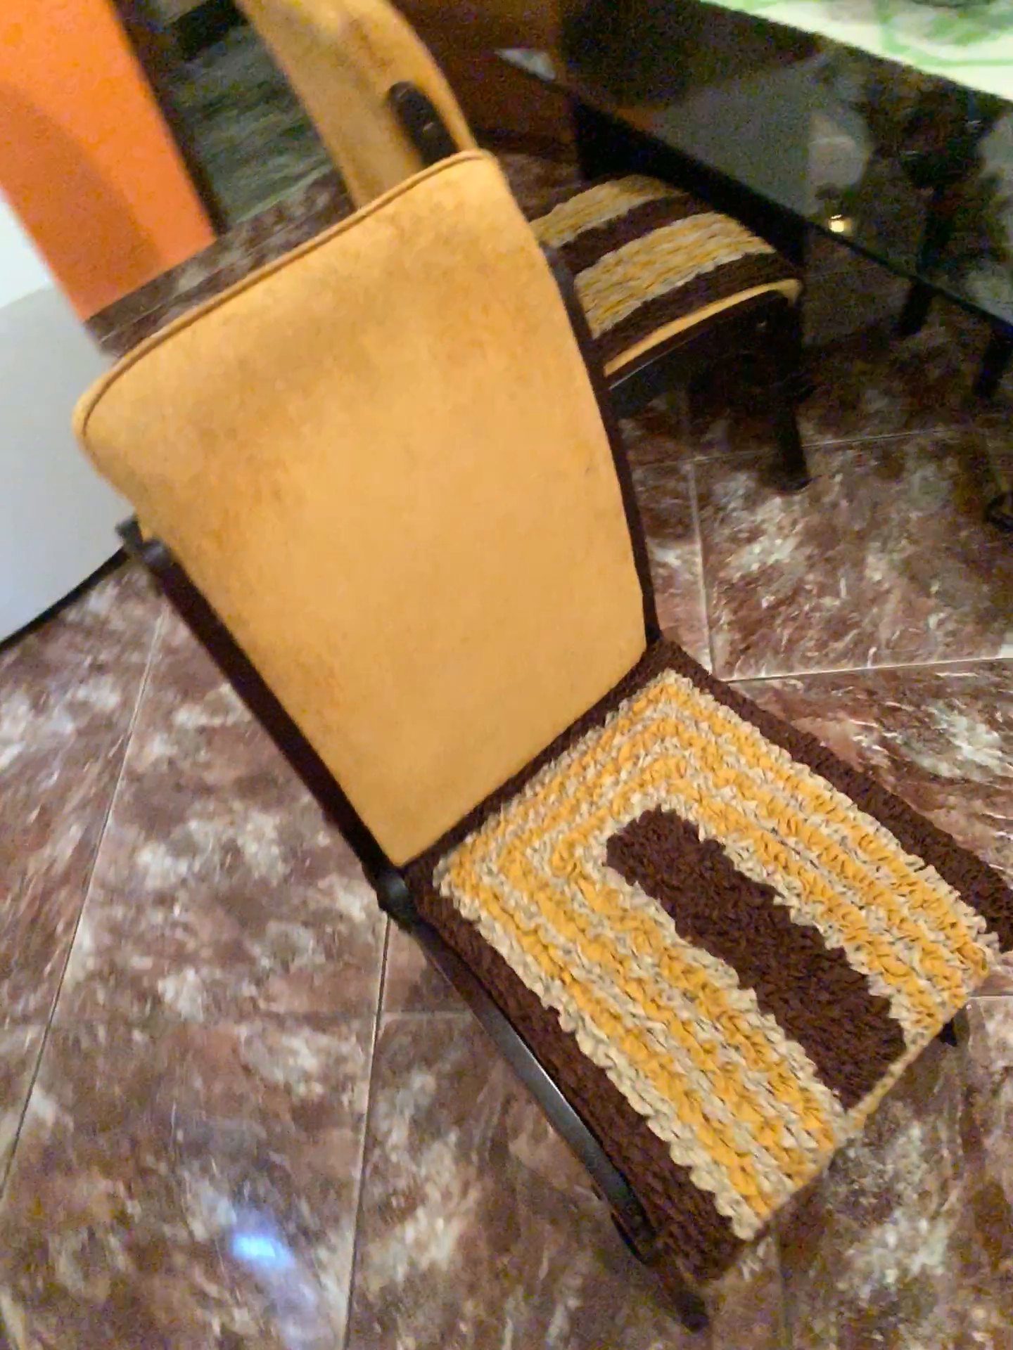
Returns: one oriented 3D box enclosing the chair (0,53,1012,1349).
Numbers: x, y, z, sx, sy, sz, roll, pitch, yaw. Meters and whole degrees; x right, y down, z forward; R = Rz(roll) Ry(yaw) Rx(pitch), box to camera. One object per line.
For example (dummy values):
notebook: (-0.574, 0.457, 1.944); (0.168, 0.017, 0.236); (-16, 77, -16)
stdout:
chair: (0.121, 0.125, 0.931); (0.560, 0.936, 0.602); (-39, 56, -15)
